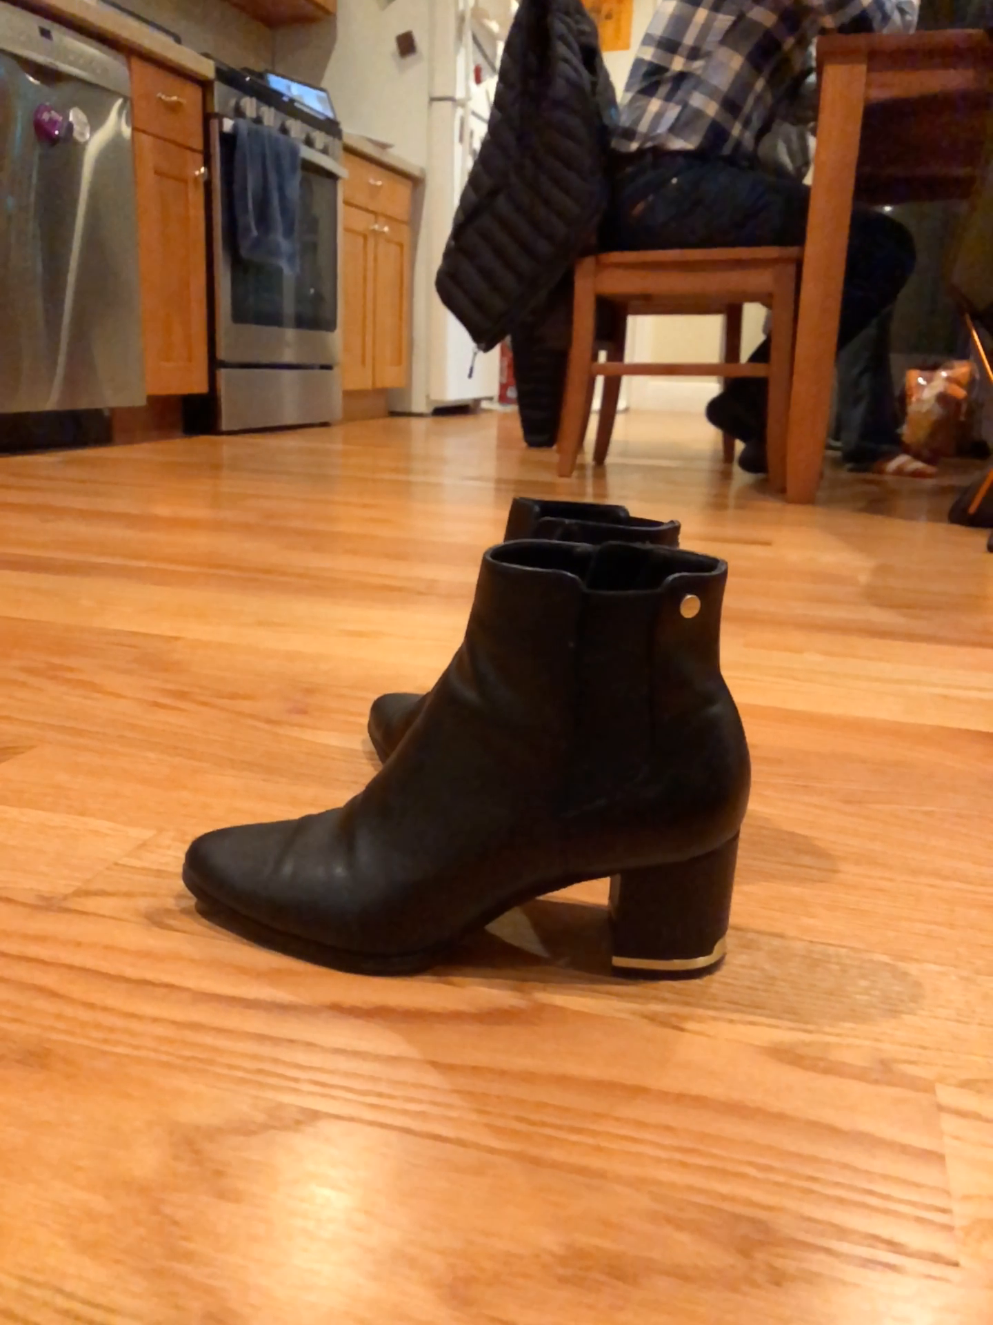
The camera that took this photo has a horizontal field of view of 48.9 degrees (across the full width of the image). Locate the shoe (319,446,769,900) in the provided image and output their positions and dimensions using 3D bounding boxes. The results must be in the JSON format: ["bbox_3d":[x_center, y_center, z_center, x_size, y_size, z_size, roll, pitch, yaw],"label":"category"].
[{"bbox_3d":[0.008,-0.015,0.570,0.095,0.175,0.237,-9,18,-37],"label":"shoe"}]

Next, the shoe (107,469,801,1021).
[{"bbox_3d":[-0.015,0.022,0.431,0.236,0.175,0.095,4,14,8],"label":"shoe"}]
